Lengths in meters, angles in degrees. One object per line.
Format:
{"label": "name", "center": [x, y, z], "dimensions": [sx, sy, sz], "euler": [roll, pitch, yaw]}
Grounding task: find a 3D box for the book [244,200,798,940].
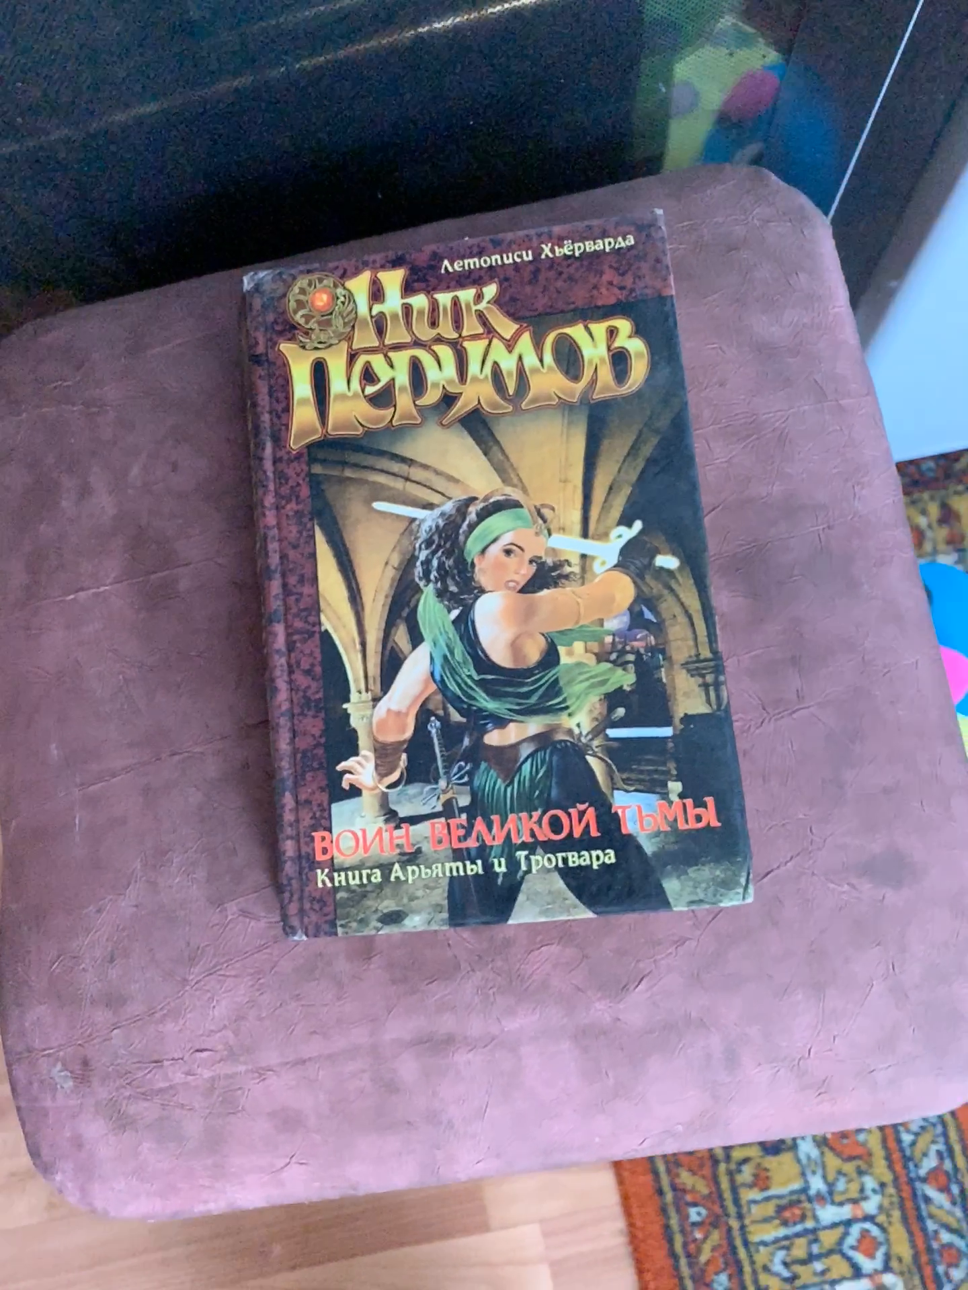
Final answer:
{"label": "book", "center": [0.006, -0.024, 0.309], "dimensions": [0.139, 0.037, 0.205], "euler": [-7, 79, 4]}
